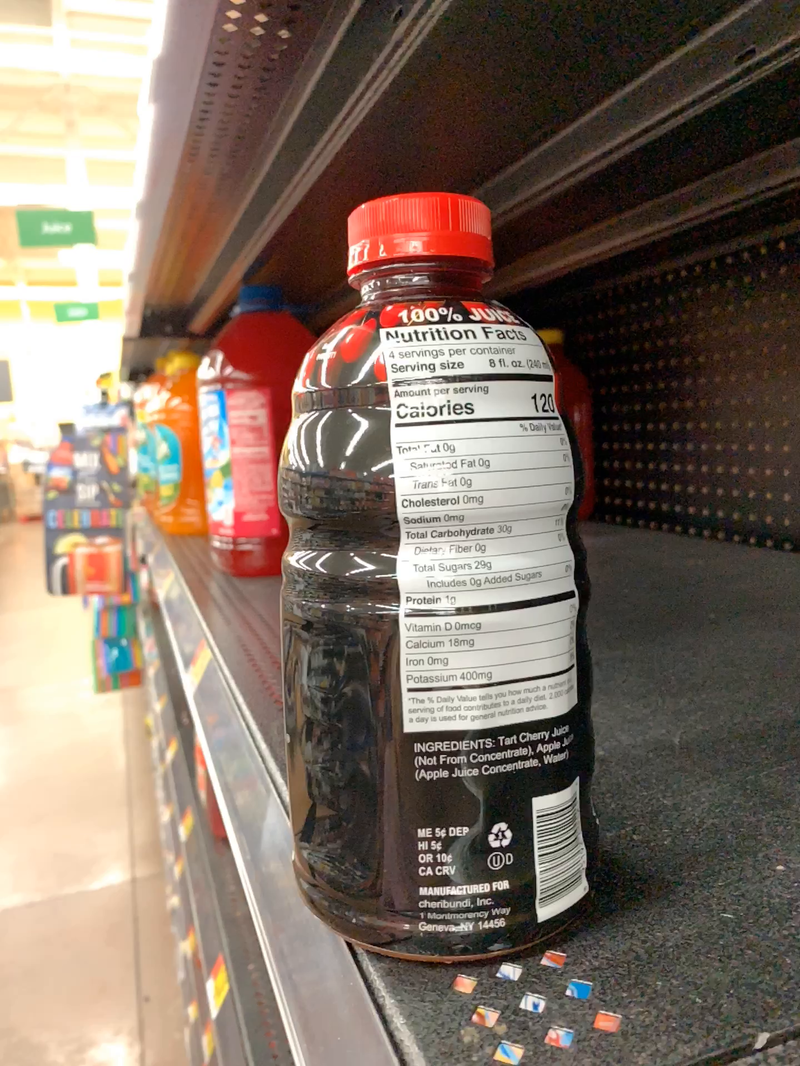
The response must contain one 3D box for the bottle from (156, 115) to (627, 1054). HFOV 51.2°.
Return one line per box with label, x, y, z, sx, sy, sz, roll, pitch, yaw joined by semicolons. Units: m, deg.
bottle;0.007;0.011;0.241;0.090;0.205;0.095;-4;7;0
